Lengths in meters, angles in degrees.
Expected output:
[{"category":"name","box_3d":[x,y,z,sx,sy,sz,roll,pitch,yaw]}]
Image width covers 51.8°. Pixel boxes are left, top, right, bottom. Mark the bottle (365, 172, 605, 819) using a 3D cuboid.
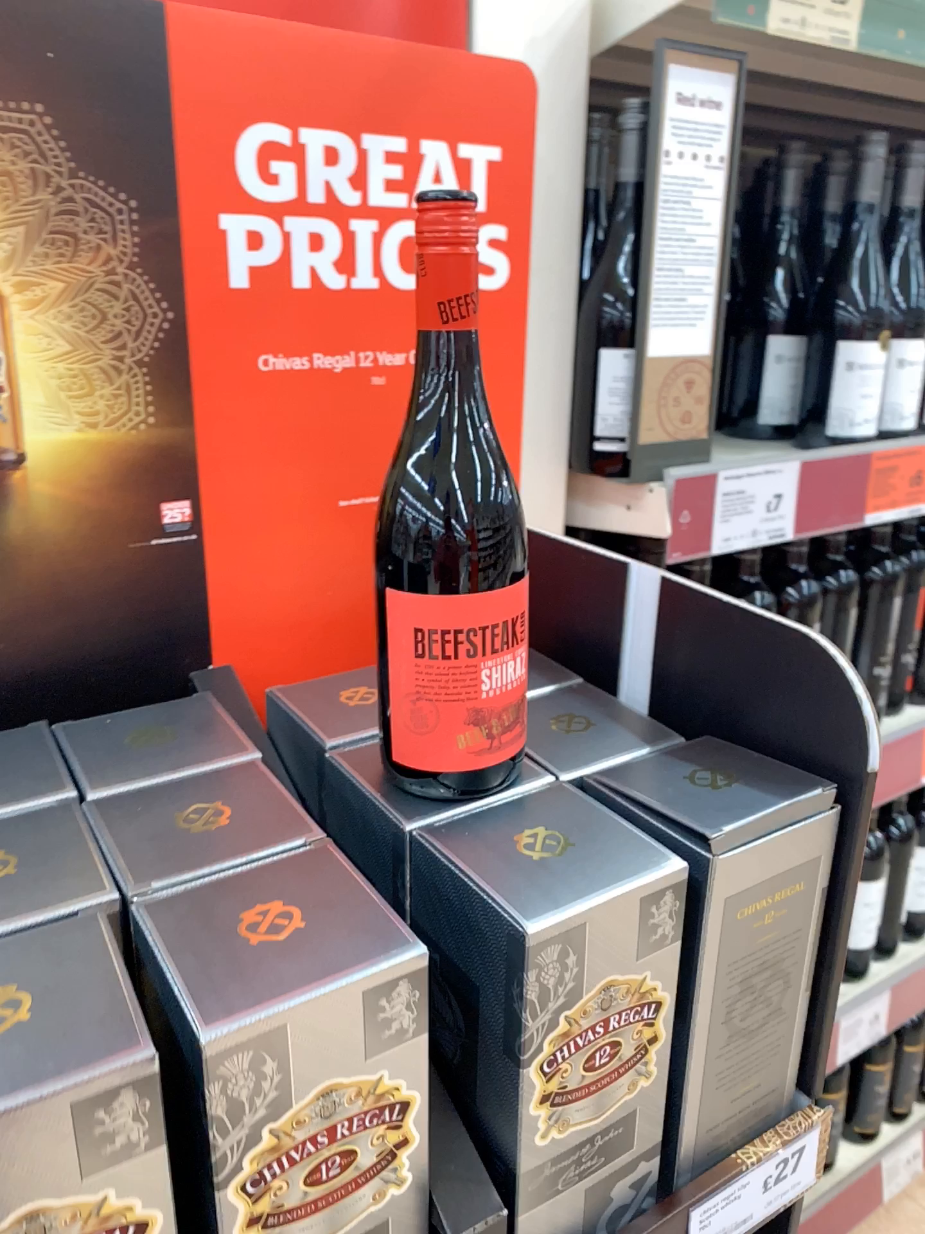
[{"category":"bottle","box_3d":[0.004,-0.054,0.462,0.083,0.284,0.081,1,19,0]}]
